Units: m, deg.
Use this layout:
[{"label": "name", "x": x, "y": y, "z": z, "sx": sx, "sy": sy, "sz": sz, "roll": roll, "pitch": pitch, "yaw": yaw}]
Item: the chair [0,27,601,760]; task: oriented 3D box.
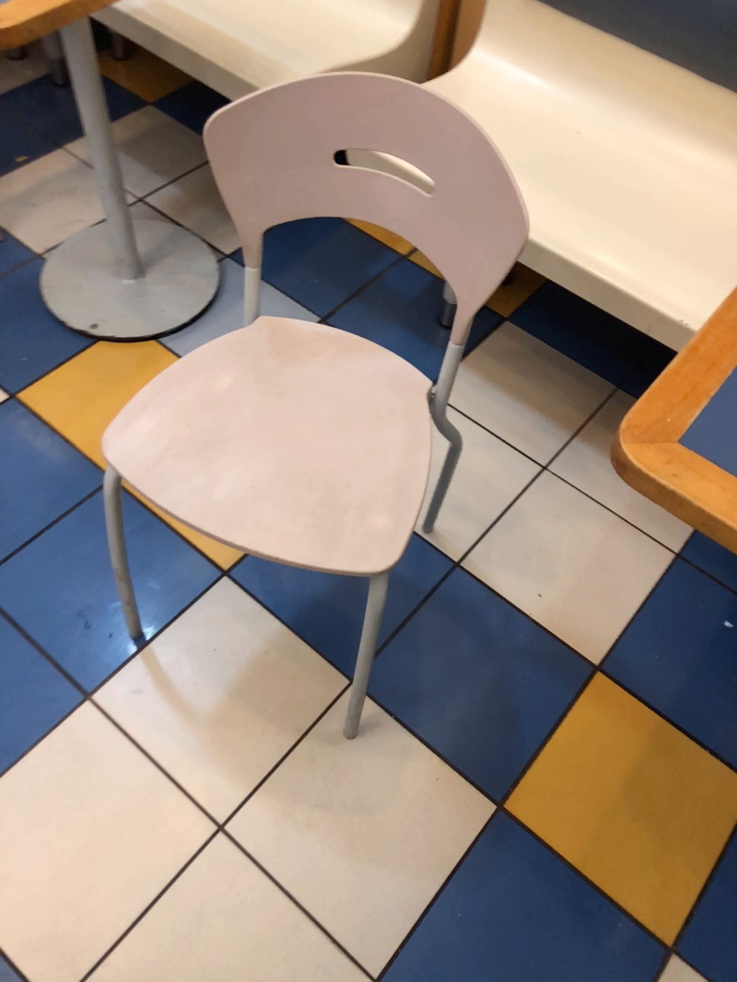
[{"label": "chair", "x": -0.073, "y": -0.072, "z": 1.112, "sx": 0.440, "sy": 0.775, "sz": 0.513, "roll": 22, "pitch": 56, "yaw": 10}]
